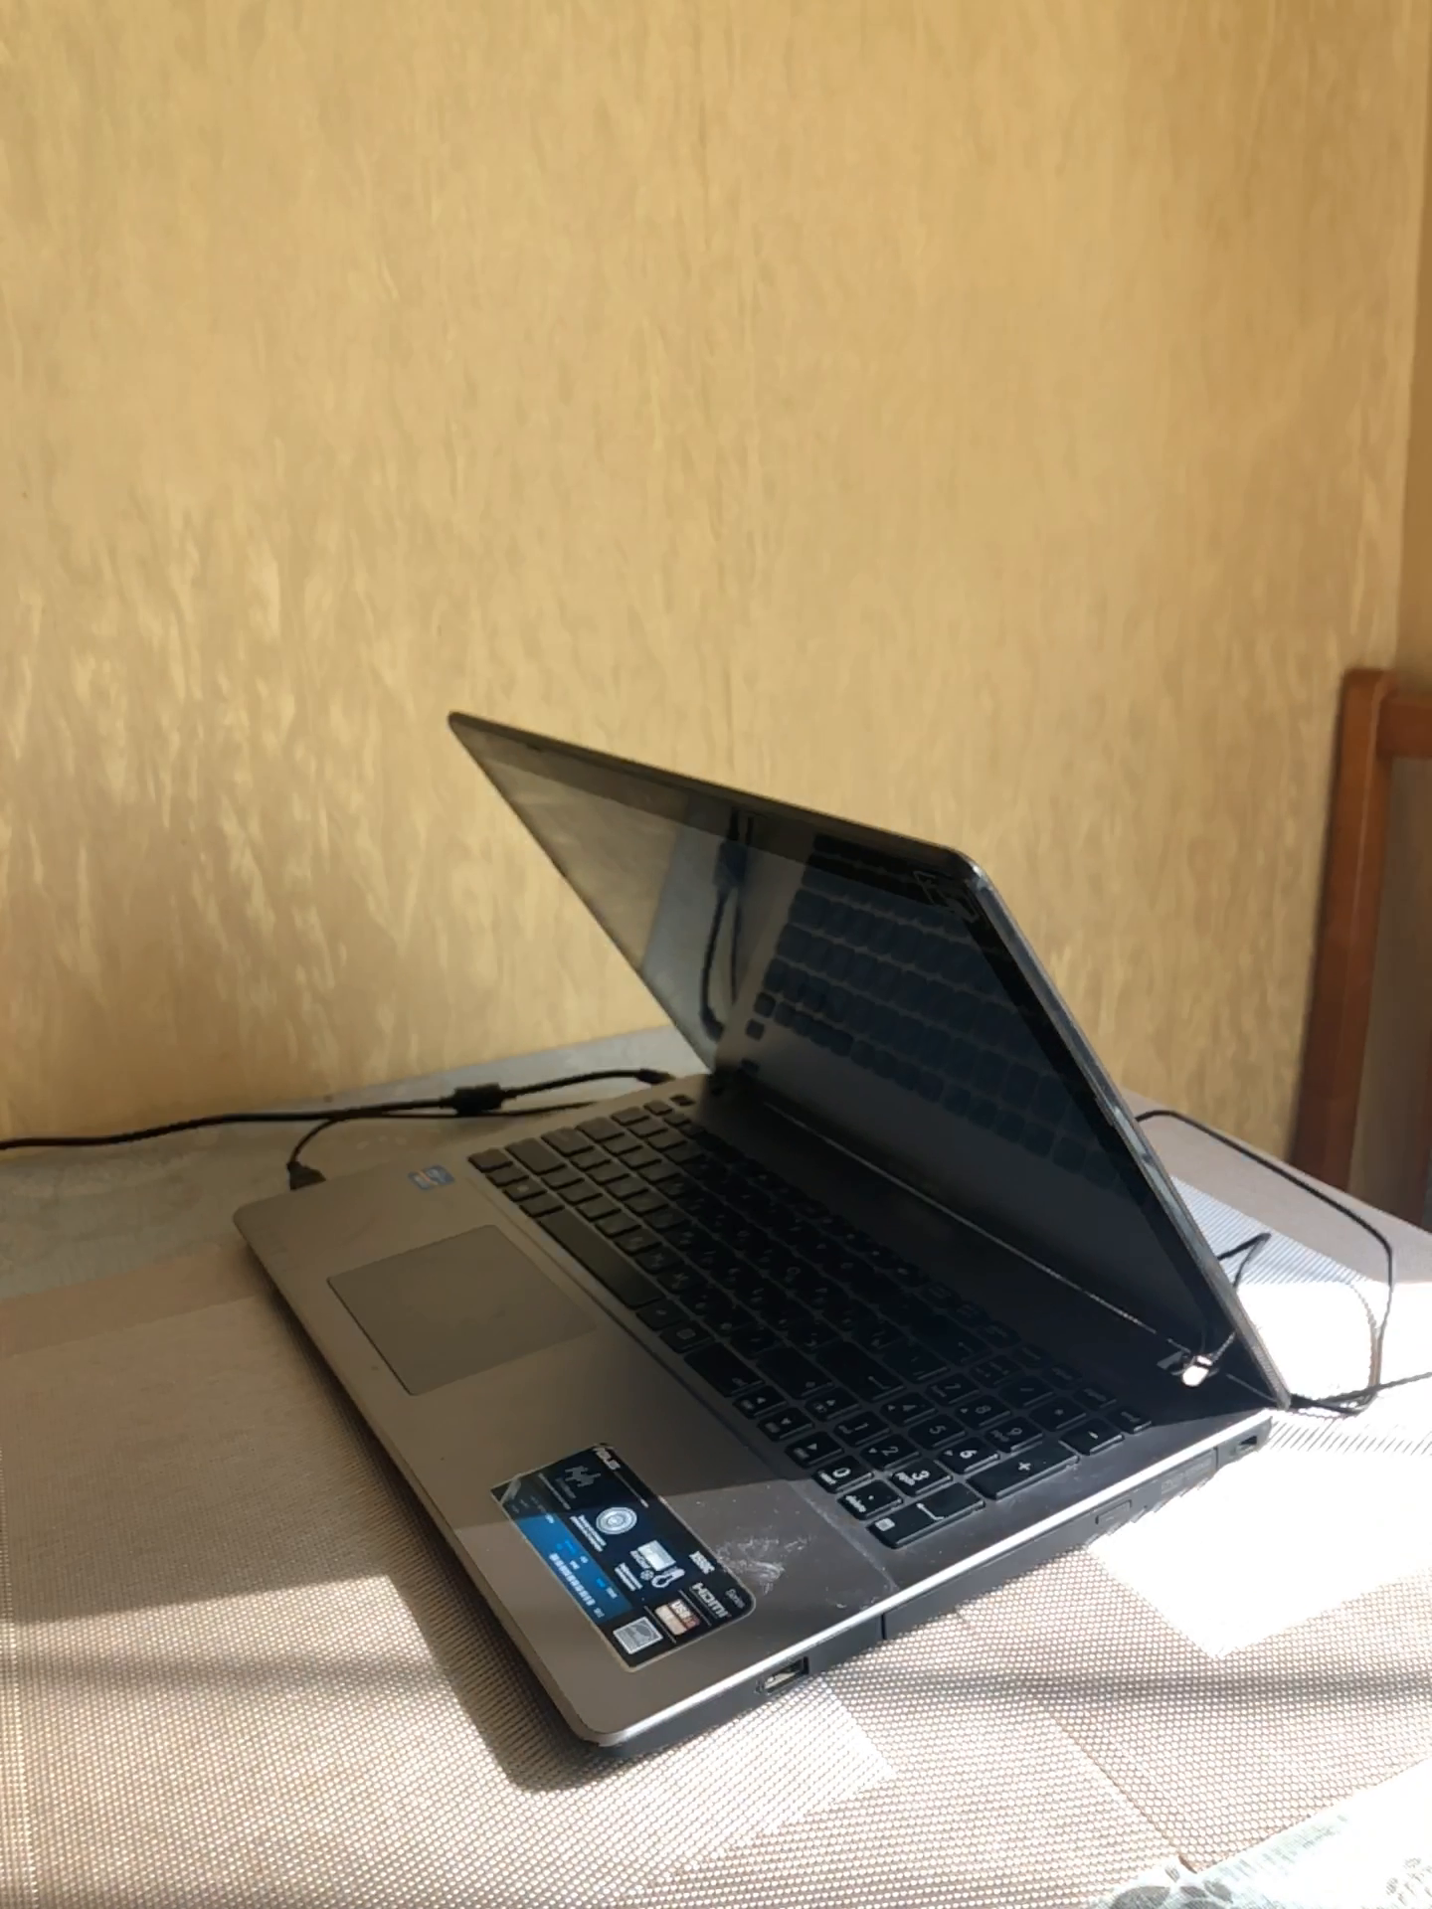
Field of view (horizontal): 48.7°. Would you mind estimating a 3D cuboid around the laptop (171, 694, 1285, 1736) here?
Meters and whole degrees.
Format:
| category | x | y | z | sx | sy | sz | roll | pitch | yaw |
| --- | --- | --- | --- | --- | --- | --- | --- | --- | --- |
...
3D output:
| category | x | y | z | sx | sy | sz | roll | pitch | yaw |
| --- | --- | --- | --- | --- | --- | --- | --- | --- | --- |
| laptop | -0.026 | 0.036 | 0.586 | 0.242 | 0.196 | 0.370 | -13 | 19 | -27 |
